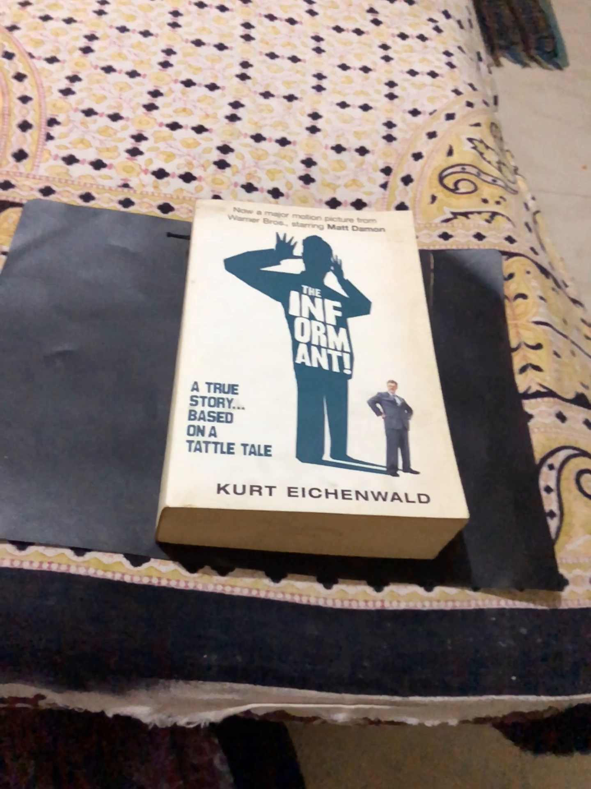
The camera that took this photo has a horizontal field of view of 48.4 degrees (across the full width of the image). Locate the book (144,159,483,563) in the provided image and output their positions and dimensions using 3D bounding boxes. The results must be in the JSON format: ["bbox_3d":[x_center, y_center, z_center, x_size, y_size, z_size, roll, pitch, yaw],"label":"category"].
[{"bbox_3d":[0.004,-0.031,0.357,0.140,0.050,0.230,4,53,-7],"label":"book"}]
